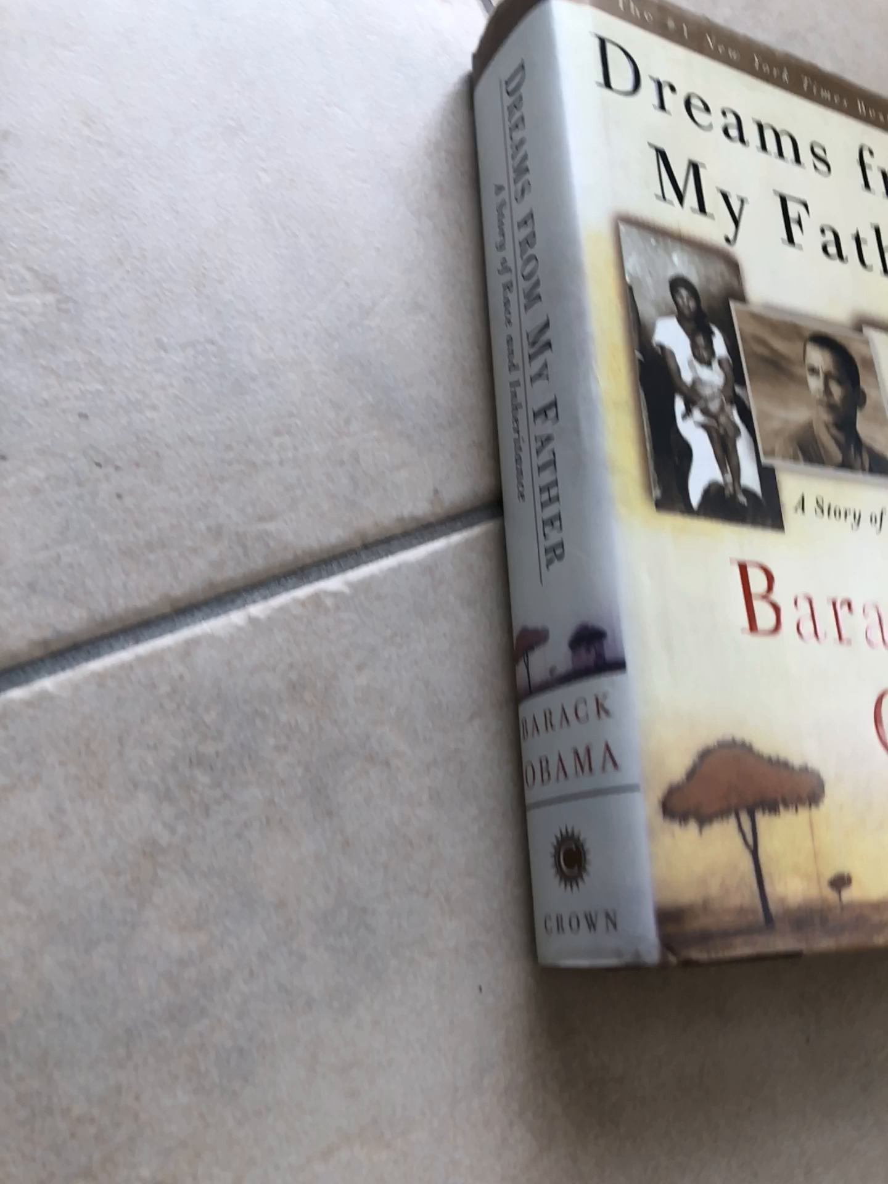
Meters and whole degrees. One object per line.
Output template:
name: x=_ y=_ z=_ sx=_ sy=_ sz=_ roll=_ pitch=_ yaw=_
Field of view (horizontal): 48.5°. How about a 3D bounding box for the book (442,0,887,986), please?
book: x=0.093 y=-0.050 z=0.255 sx=0.171 sy=0.050 sz=0.270 roll=6 pitch=69 yaw=-25
